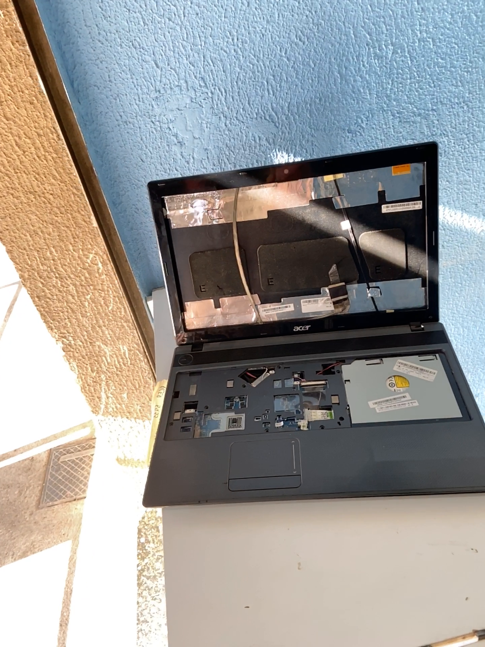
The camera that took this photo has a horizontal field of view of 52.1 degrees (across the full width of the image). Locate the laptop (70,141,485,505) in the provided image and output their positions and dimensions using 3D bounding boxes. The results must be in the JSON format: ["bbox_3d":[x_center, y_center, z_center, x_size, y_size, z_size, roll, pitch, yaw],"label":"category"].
[{"bbox_3d":[0.067,-0.016,0.583,0.378,0.210,0.351,-6,39,8],"label":"laptop"}]
